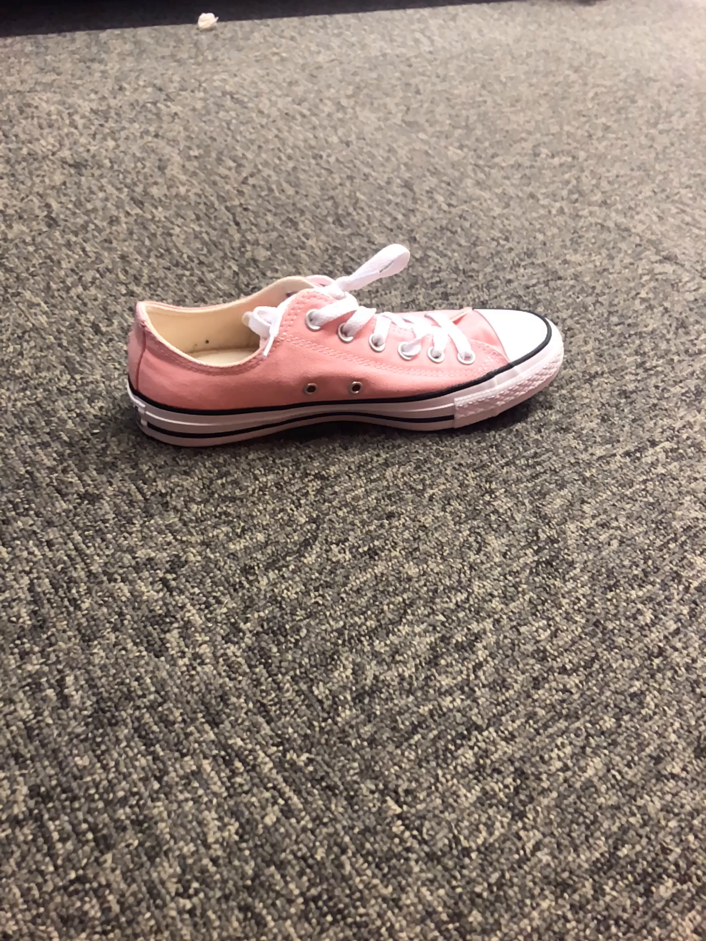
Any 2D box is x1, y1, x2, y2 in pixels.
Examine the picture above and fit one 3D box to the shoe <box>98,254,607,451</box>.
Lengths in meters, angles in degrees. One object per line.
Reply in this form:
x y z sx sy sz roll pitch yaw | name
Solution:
-0.001 -0.077 0.467 0.281 0.060 0.100 -5 43 -19 | shoe
